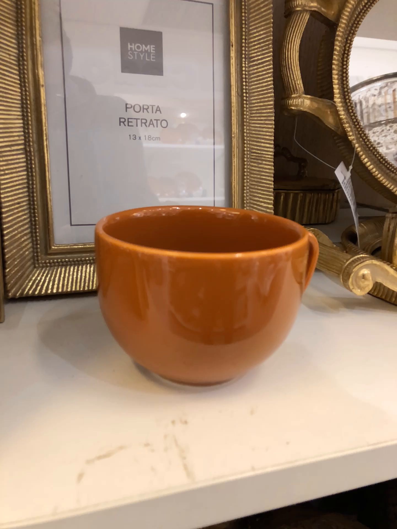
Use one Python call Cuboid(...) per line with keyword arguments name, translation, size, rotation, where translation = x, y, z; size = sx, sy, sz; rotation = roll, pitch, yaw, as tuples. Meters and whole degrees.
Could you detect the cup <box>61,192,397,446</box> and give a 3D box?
Cuboid(name="cup", translation=(0.012, 0.008, 0.200), size=(0.120, 0.060, 0.090), rotation=(-10, 22, -31))
